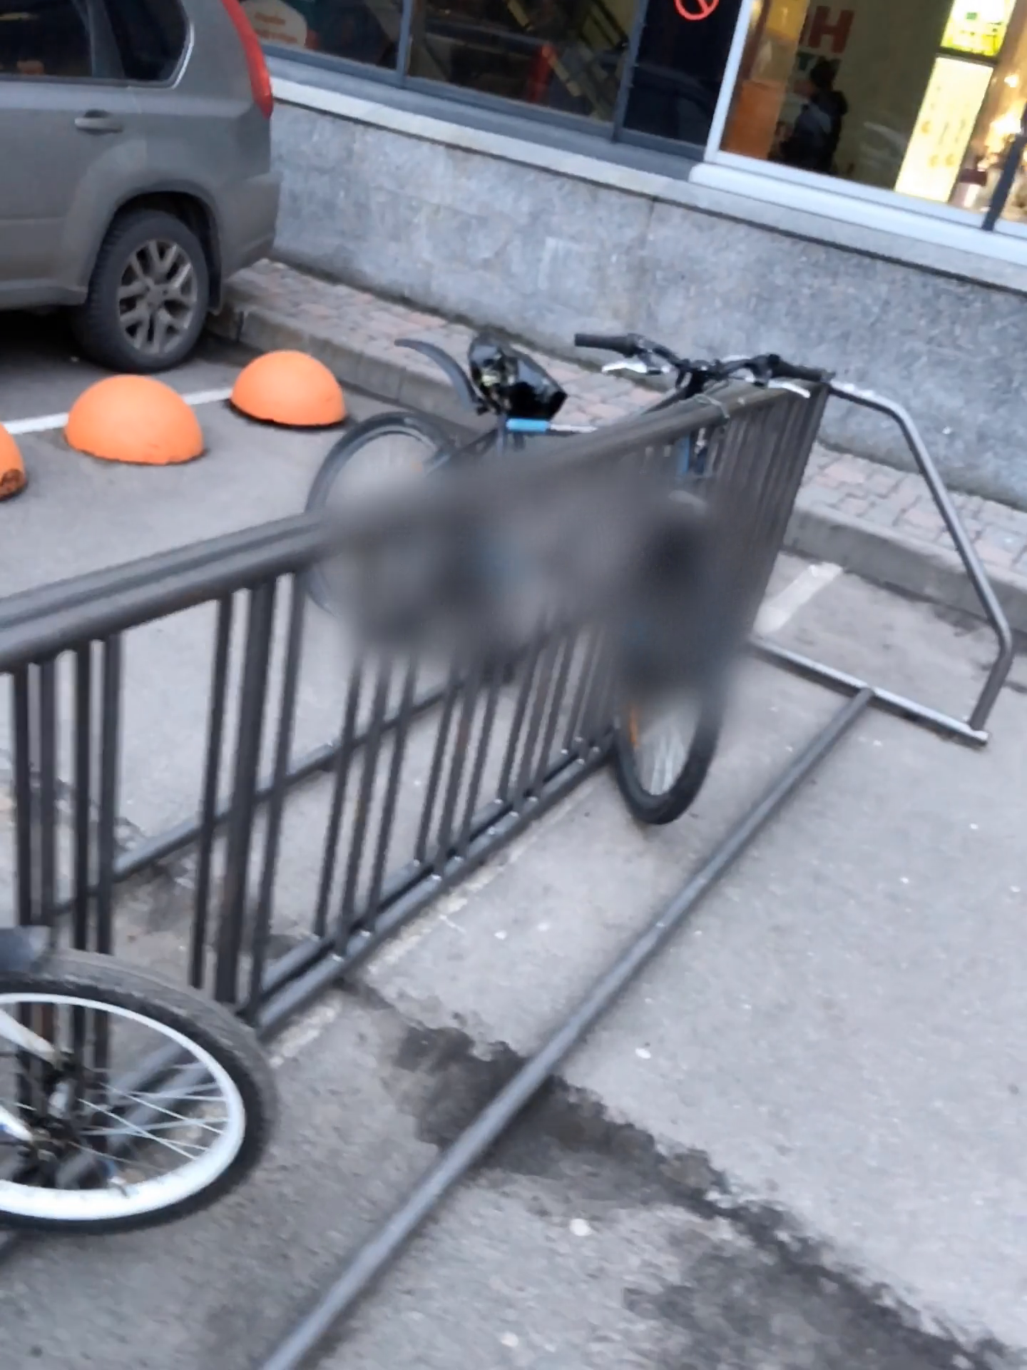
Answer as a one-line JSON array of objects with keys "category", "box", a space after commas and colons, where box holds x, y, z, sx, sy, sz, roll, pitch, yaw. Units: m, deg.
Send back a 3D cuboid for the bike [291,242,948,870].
[{"category": "bike", "box": [0.083, -0.443, 2.826, 0.535, 1.051, 1.588, -10, 31, -36]}]
